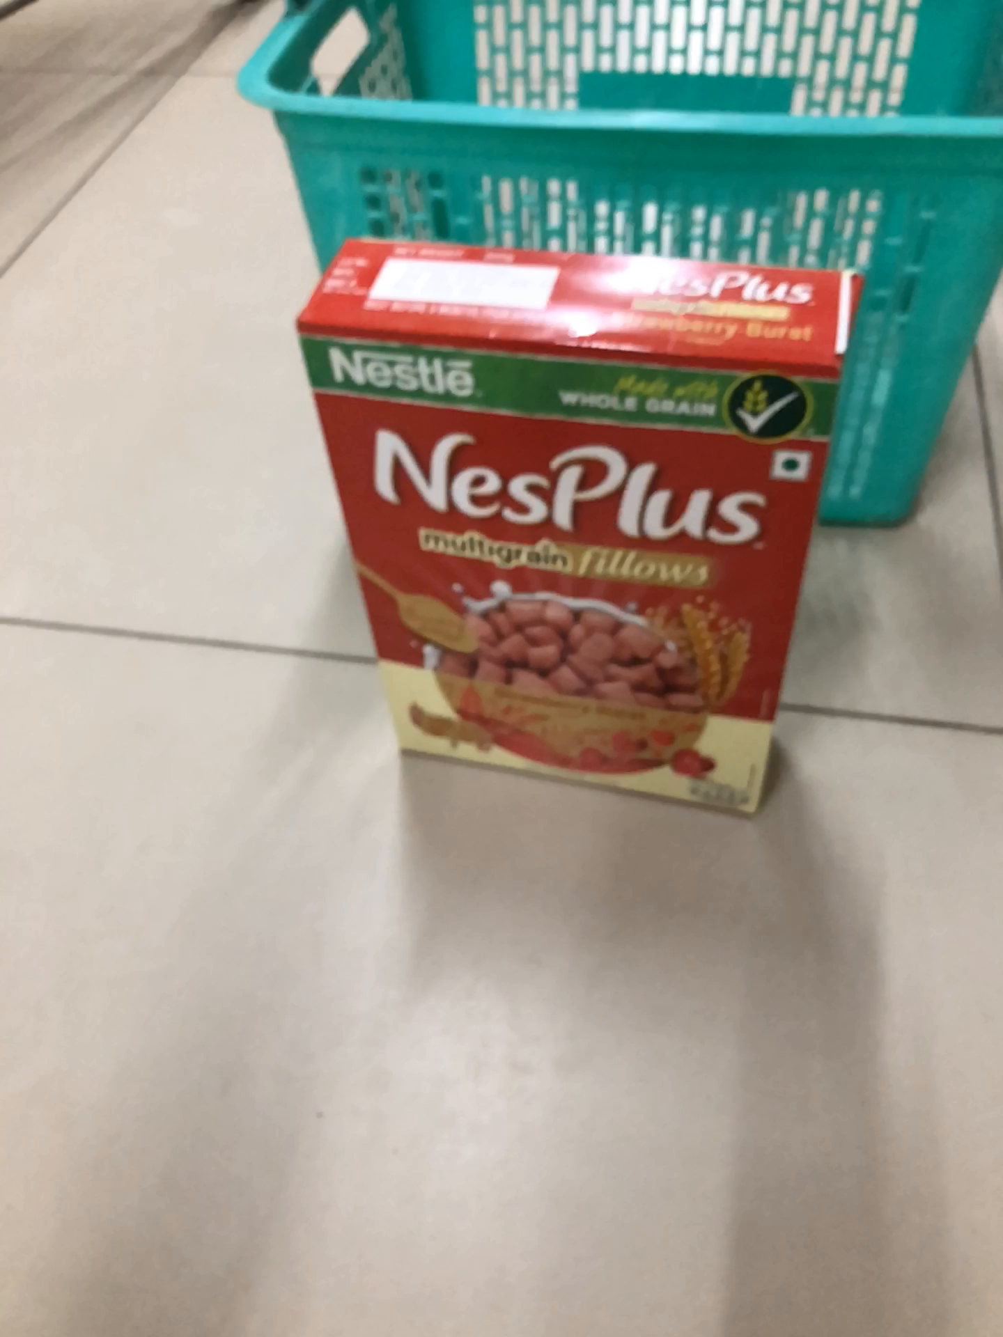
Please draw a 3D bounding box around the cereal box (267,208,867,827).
[{"bbox_3d":[0.029,-0.047,0.470,0.190,0.258,0.060,10,51,13],"label":"cereal box"}]
